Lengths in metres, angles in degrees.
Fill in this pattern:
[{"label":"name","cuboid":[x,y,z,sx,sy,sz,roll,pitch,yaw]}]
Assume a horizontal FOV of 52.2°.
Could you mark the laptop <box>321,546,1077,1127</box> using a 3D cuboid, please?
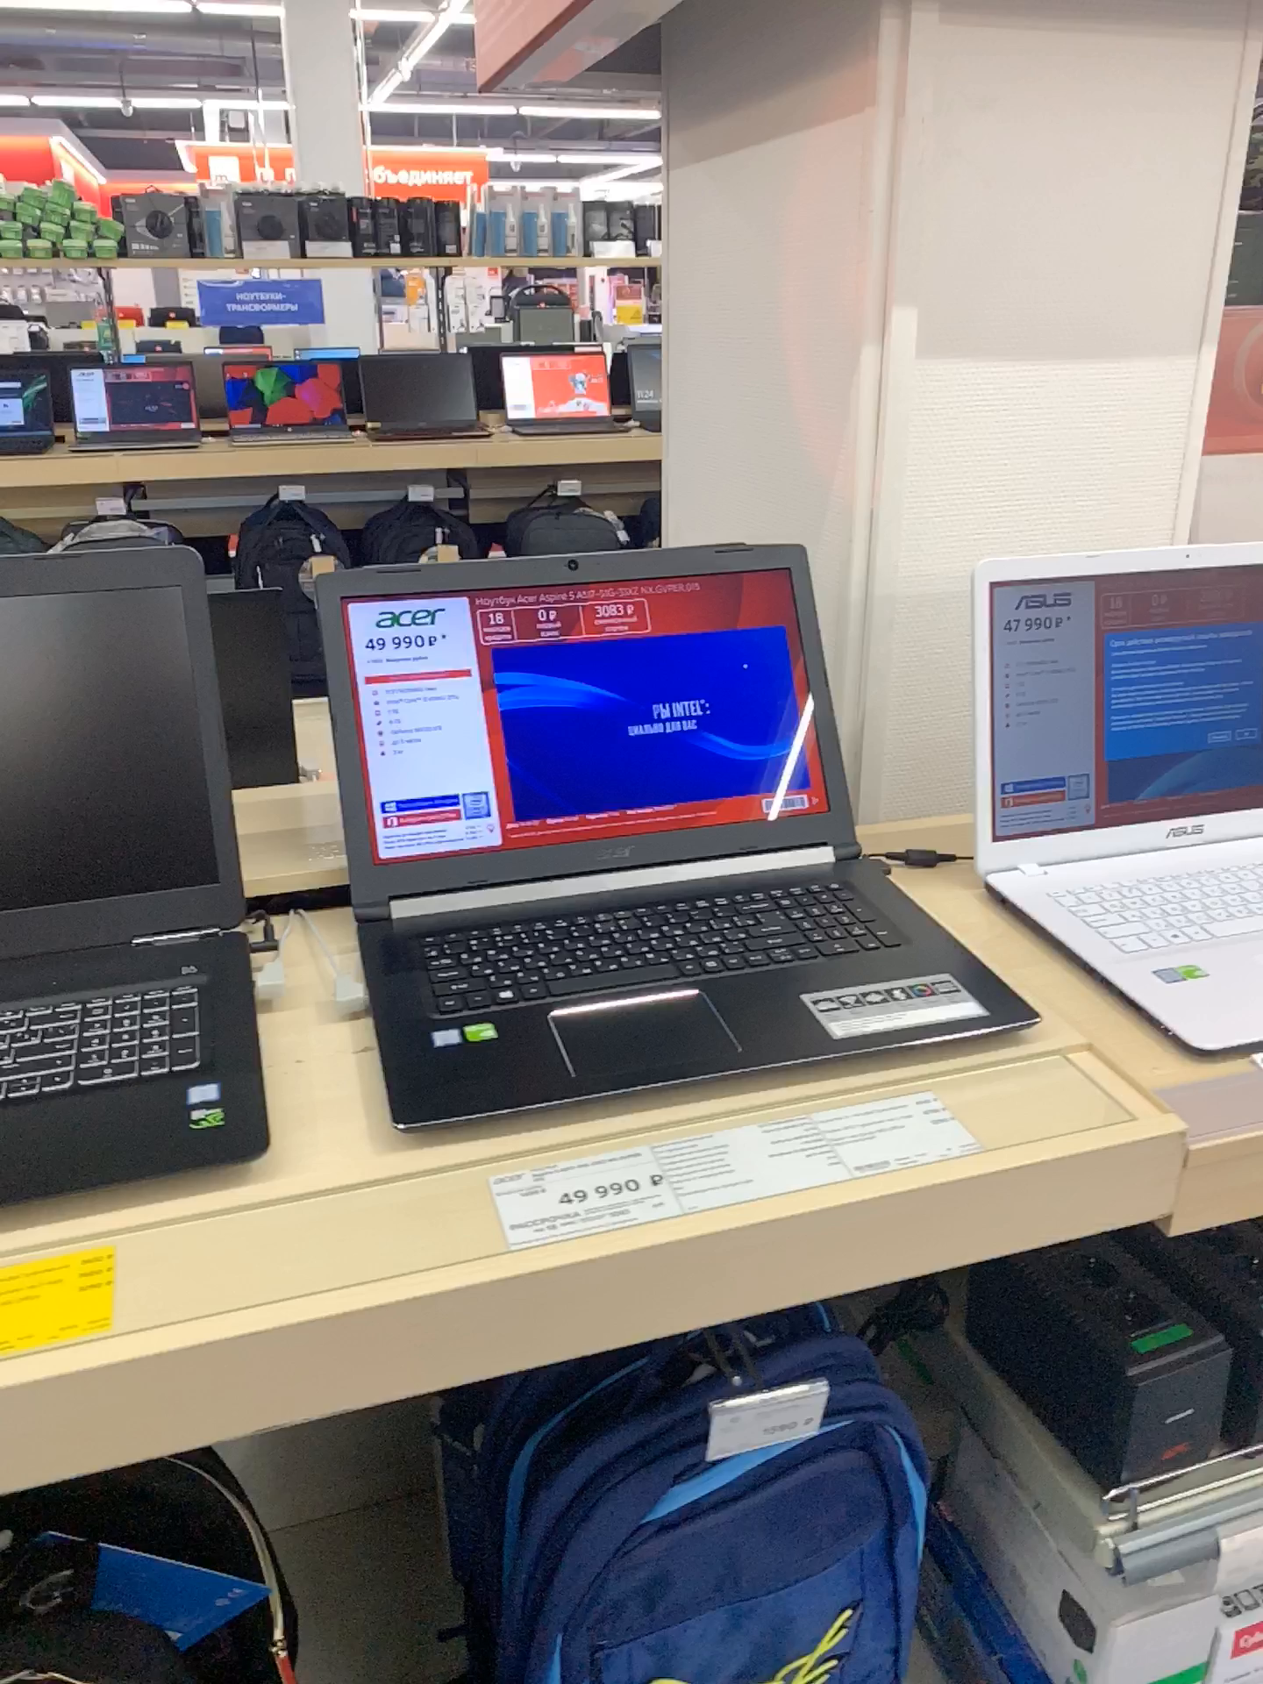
[{"label":"laptop","cuboid":[0.011,-0.049,0.950,0.420,0.235,0.422,-7,24,-15]}]
